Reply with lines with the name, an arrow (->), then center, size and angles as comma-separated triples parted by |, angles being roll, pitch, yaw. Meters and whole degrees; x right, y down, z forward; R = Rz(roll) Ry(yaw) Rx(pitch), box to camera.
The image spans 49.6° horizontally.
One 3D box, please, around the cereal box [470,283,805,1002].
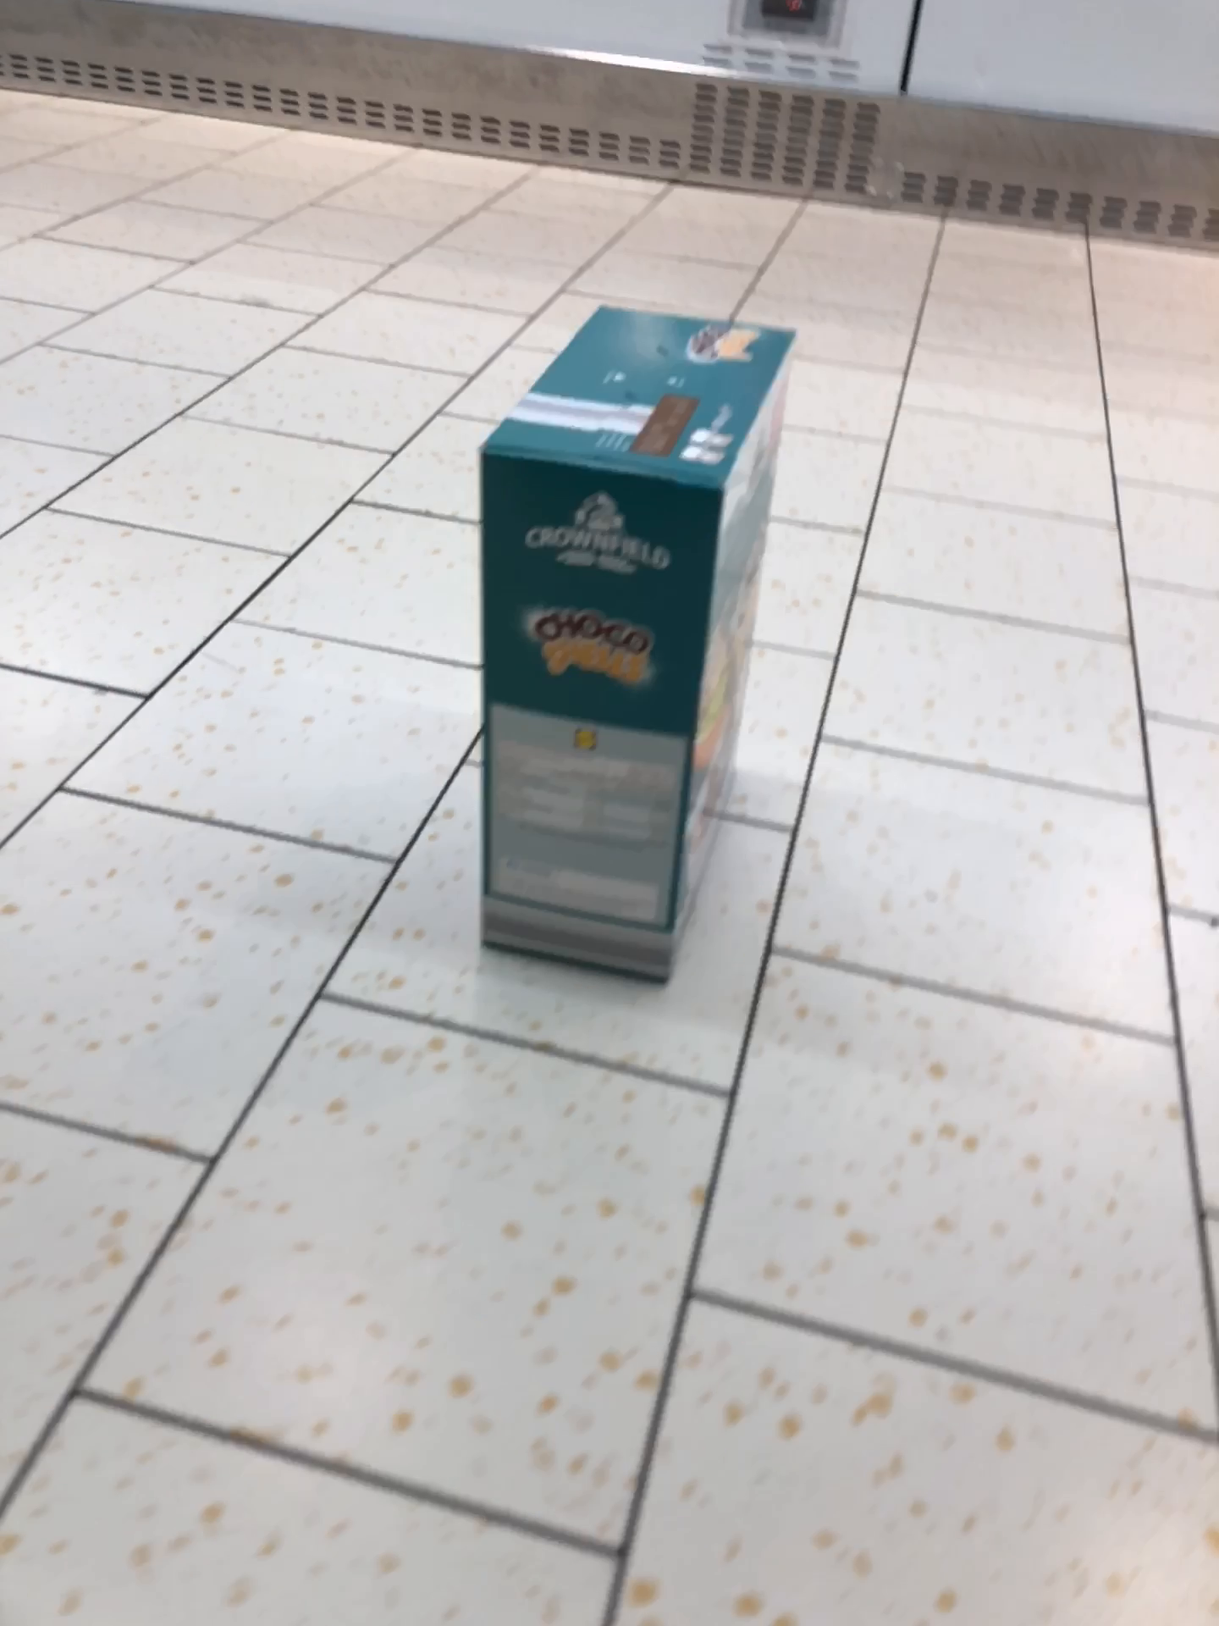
cereal box -> 0.013, -0.086, 0.647 | 0.100, 0.268, 0.211 | 11, 37, 9
